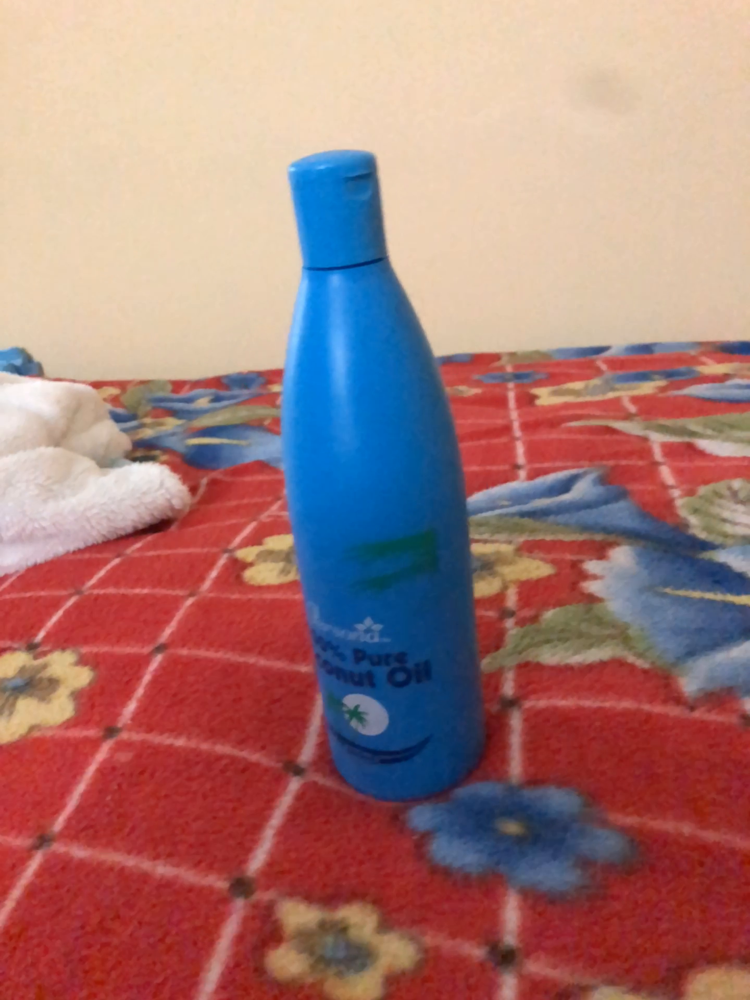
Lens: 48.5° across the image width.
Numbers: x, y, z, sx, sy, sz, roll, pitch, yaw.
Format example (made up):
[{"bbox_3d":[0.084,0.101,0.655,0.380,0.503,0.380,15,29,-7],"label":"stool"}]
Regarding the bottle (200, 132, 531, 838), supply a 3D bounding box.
[{"bbox_3d":[0.008,-0.002,0.298,0.070,0.229,0.070,-5,22,2],"label":"bottle"}]
